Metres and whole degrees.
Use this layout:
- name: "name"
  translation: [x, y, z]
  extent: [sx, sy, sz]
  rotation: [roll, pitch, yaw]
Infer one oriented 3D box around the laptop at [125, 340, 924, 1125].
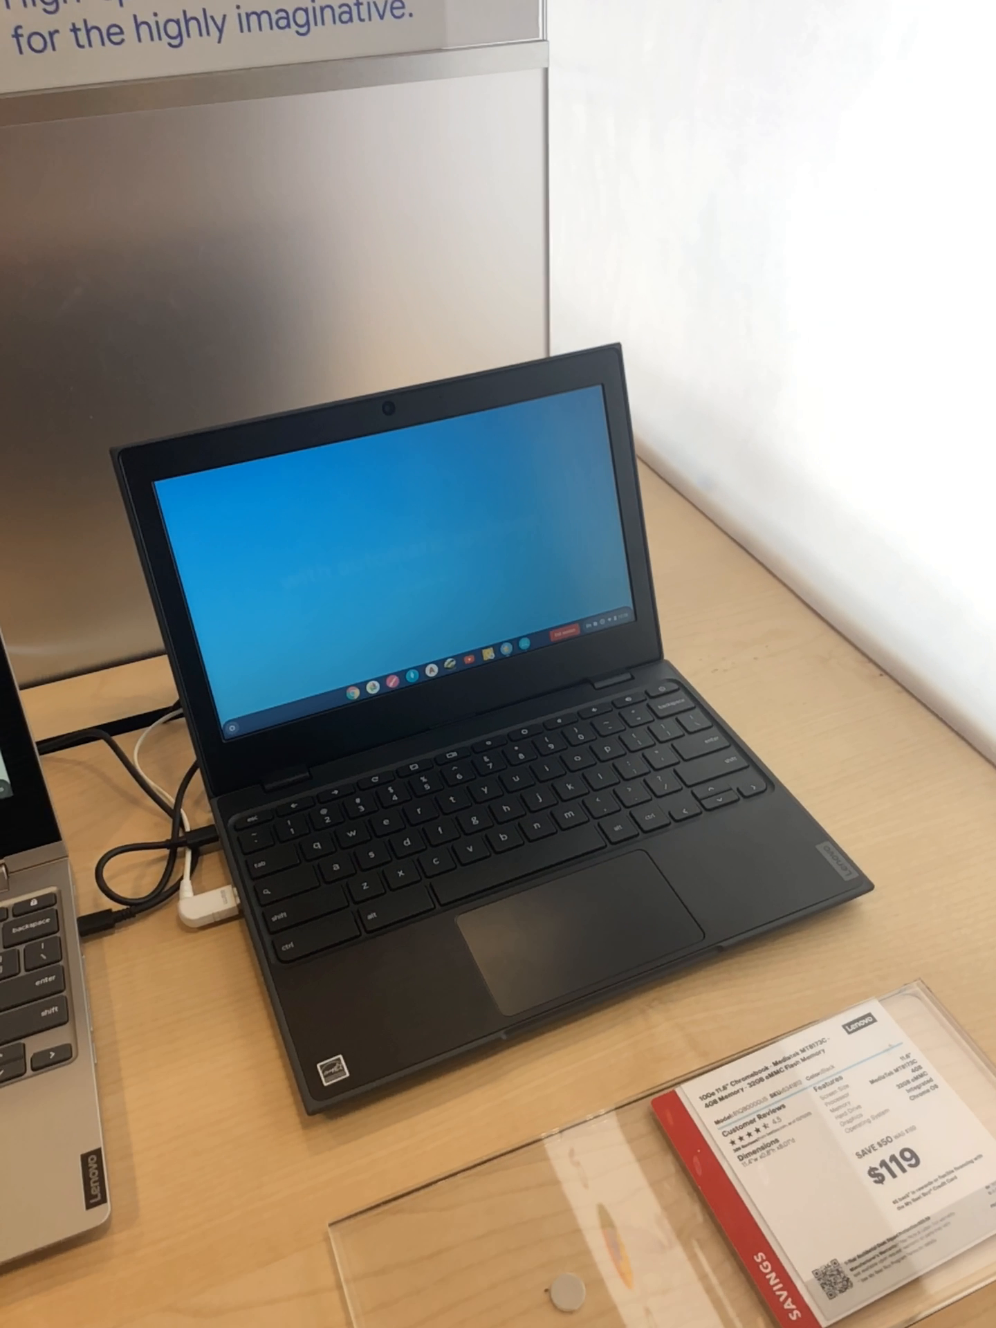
- name: "laptop"
  translation: [-0.006, 0.001, 0.543]
  extent: [0.282, 0.178, 0.272]
  rotation: [-17, 39, -17]
